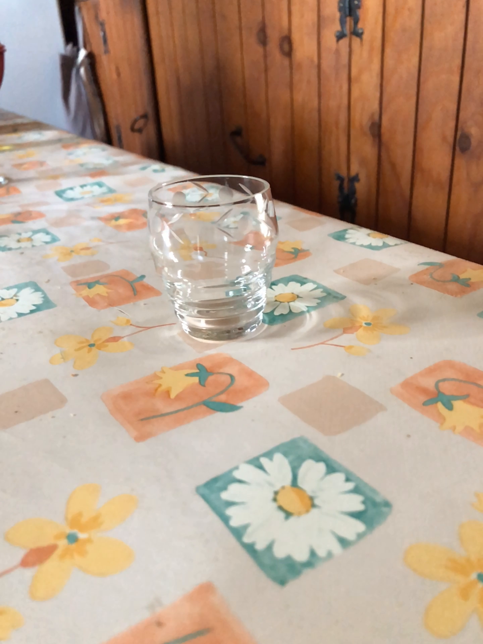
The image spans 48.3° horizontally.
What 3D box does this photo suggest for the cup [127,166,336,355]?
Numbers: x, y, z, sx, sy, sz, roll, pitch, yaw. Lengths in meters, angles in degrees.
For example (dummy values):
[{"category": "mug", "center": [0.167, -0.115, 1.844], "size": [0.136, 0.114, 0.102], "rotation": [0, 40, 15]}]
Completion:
[{"category": "cup", "center": [-0.005, -0.029, 0.216], "size": [0.060, 0.050, 0.060], "rotation": [-2, 26, 1]}]
